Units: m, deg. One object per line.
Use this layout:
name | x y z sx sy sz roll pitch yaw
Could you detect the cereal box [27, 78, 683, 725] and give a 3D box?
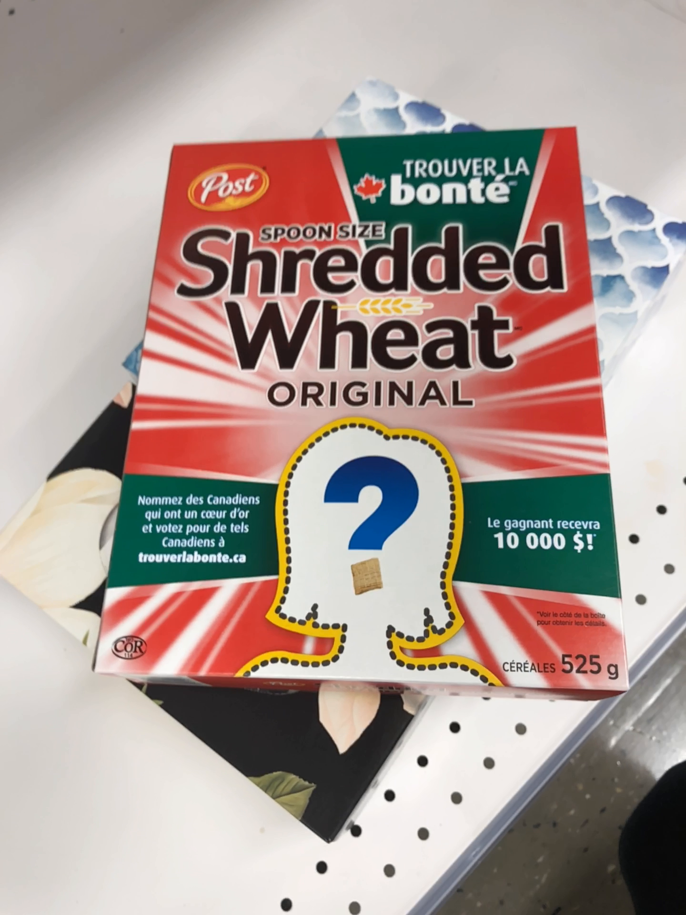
cereal box | 0.008 -0.034 0.346 0.230 0.060 0.280 0 68 8
